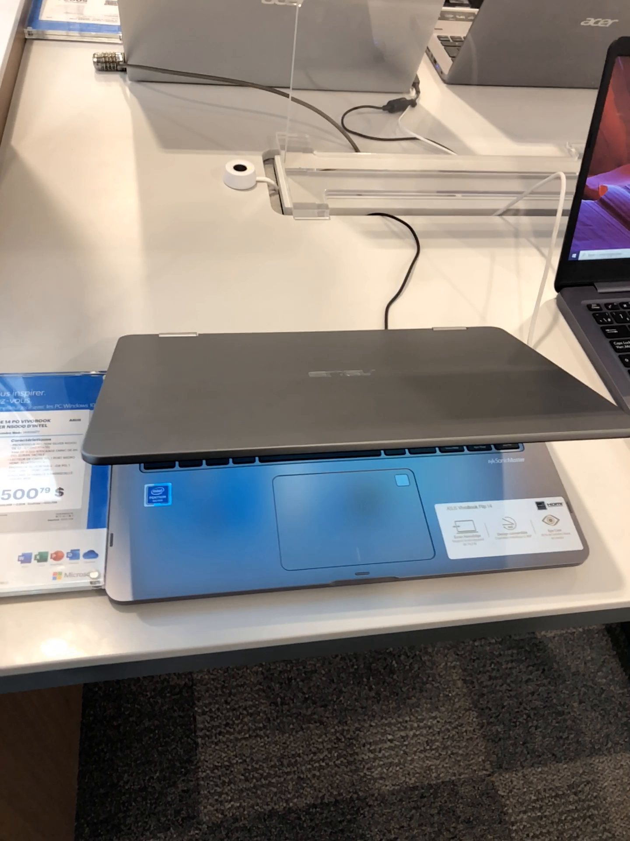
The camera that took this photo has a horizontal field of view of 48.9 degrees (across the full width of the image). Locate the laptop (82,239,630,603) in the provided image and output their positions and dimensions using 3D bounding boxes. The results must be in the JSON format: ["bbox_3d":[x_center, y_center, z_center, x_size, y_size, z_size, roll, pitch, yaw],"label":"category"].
[{"bbox_3d":[0.024,-0.013,0.470,0.321,0.105,0.215,-2,51,-9],"label":"laptop"}]
